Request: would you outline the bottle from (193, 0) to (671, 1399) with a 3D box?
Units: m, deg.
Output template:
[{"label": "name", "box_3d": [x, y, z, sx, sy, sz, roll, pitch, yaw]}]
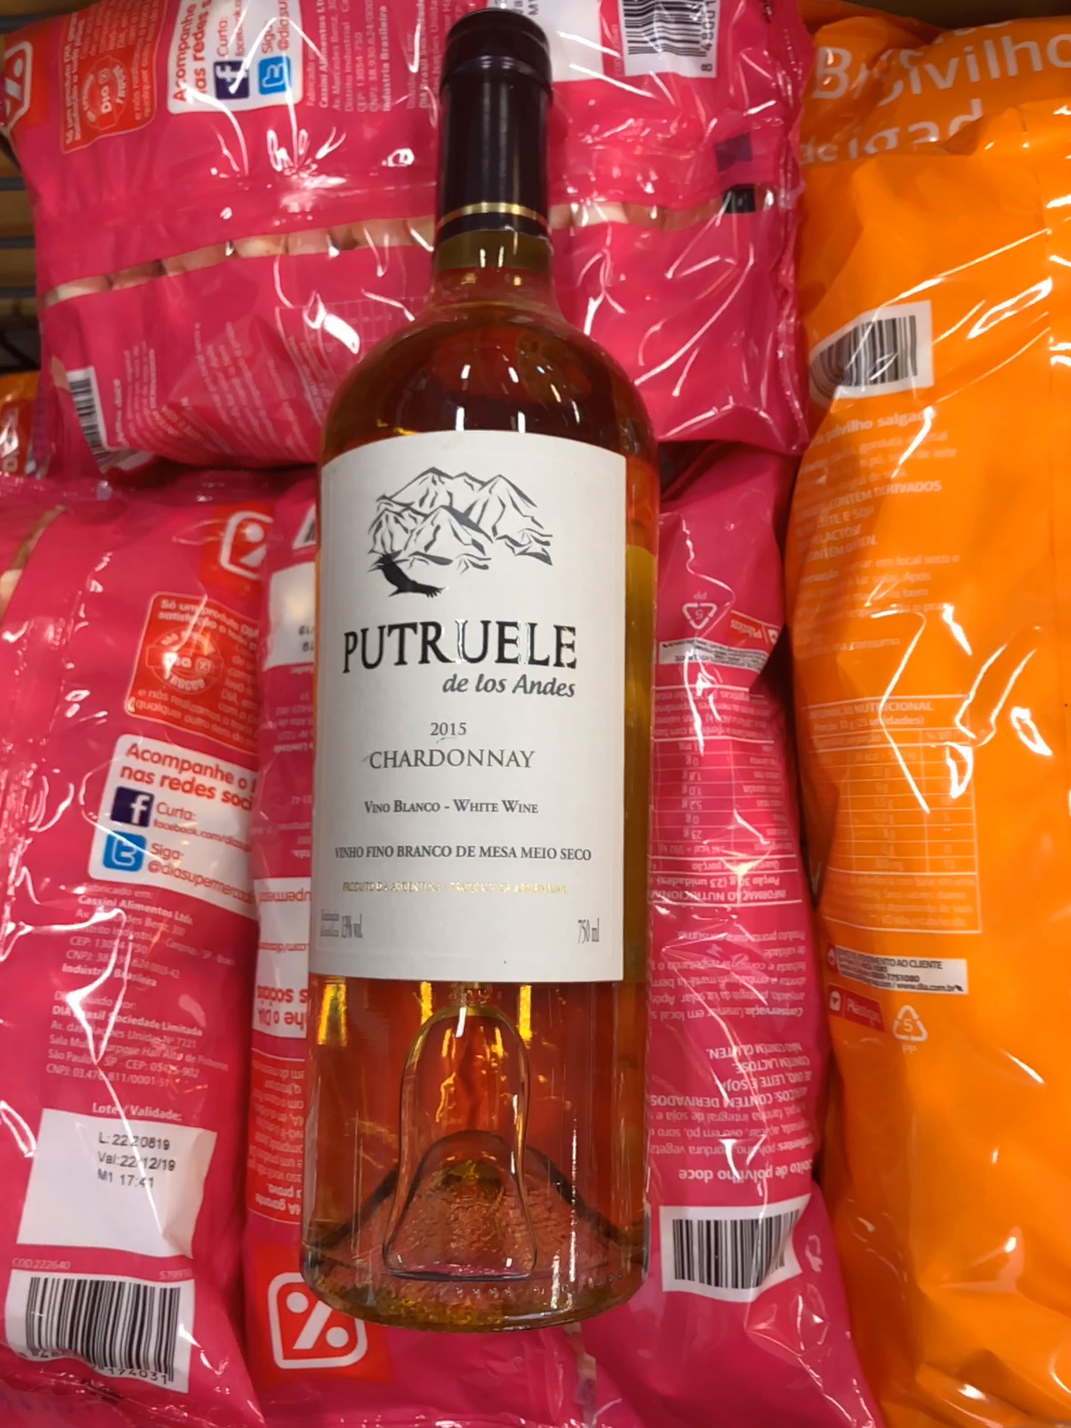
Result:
[{"label": "bottle", "box_3d": [-0.013, -0.028, 0.263, 0.080, 0.070, 0.300, 0, 78, 4]}]
